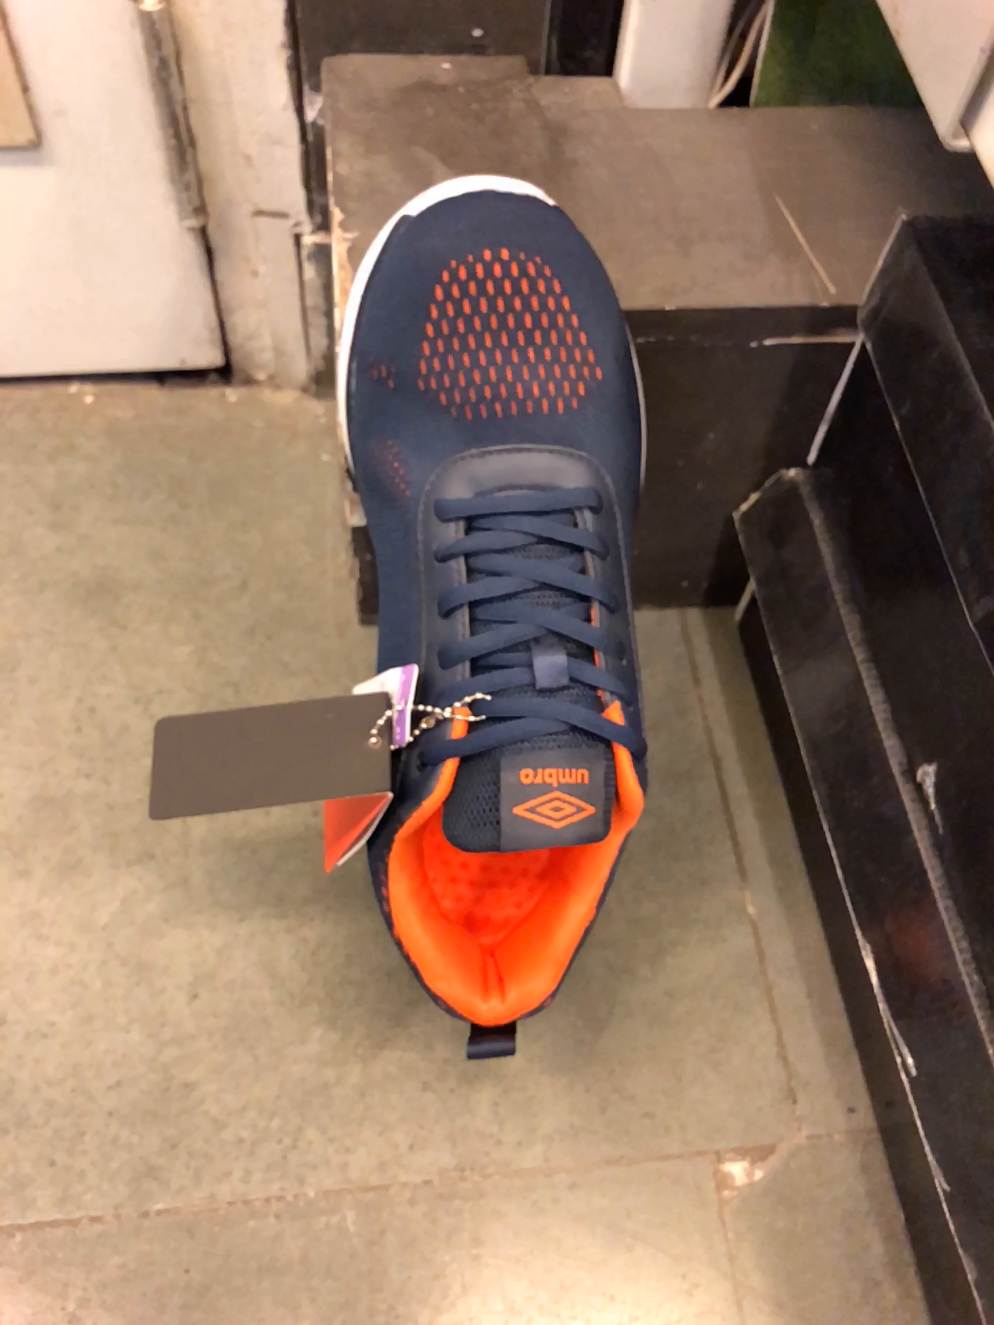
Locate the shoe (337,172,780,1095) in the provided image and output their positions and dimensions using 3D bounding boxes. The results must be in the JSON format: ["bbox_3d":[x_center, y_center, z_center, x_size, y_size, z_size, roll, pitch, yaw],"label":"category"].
[{"bbox_3d":[-0.001,-0.011,0.360,0.092,0.259,0.133,-1,27,-11],"label":"shoe"}]
